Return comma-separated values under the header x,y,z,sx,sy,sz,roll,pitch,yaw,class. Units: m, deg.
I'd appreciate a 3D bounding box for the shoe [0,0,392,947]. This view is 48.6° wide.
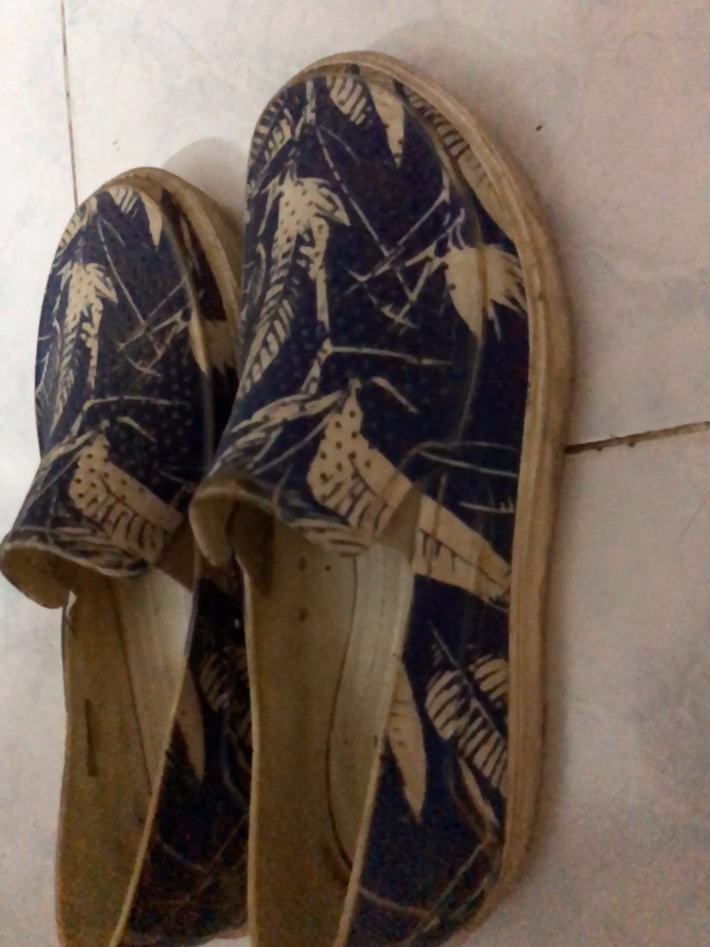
x,y,z,sx,sy,sz,roll,pitch,yaw,class
-0.088,0.014,0.289,0.110,0.100,0.310,-17,78,29,shoe

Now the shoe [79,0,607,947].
x,y,z,sx,sy,sz,roll,pitch,yaw,class
-0.006,0.003,0.237,0.110,0.100,0.300,-6,84,38,shoe
